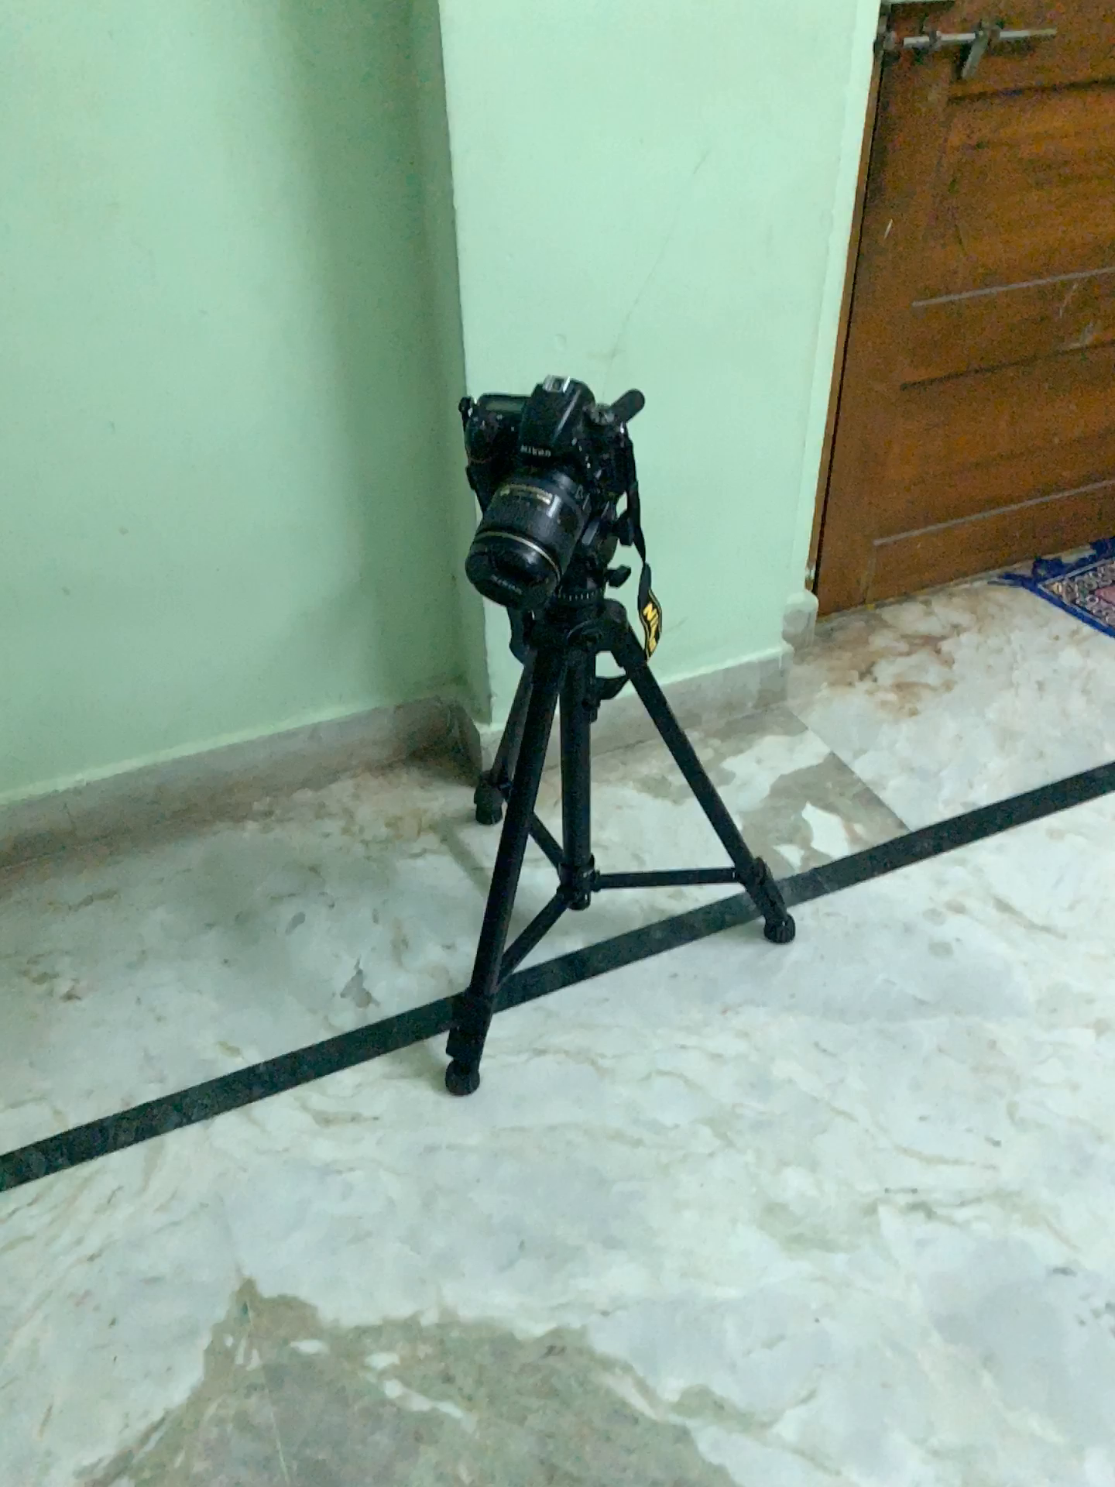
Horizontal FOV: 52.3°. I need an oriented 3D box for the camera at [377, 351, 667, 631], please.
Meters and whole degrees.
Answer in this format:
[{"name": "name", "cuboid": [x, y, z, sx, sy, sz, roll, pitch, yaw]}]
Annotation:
[{"name": "camera", "cuboid": [-0.023, -0.215, 0.953, 0.170, 0.110, 0.181, 14, 64, 19]}]
